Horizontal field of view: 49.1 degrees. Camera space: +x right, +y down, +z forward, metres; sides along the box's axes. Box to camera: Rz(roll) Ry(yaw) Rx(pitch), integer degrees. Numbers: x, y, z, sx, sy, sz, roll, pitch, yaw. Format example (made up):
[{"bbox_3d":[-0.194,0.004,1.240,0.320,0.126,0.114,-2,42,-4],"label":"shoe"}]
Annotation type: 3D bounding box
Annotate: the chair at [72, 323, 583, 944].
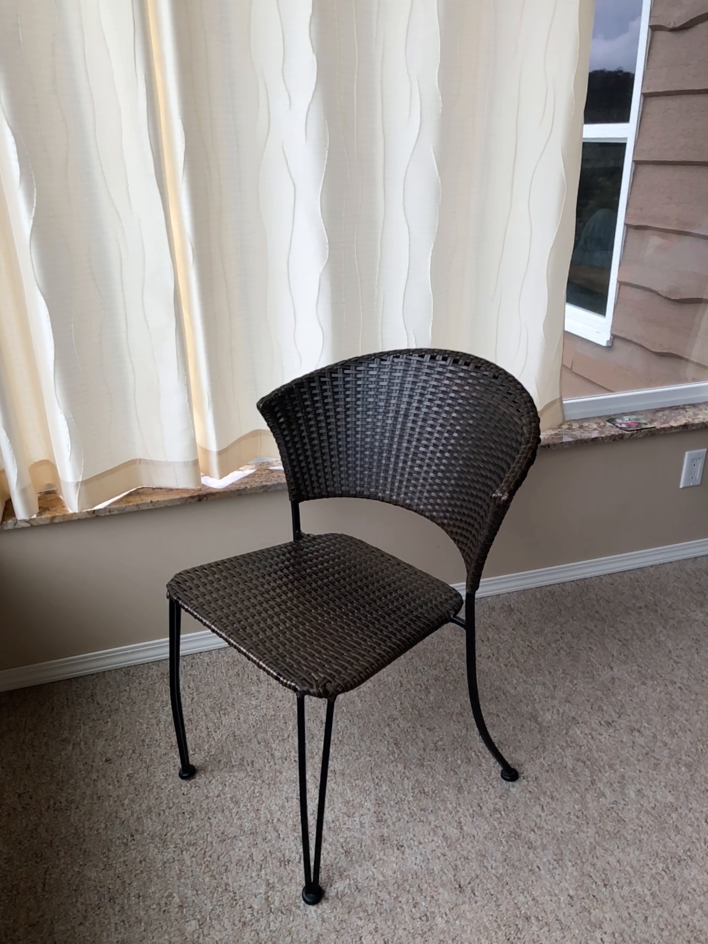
[{"bbox_3d":[-0.045,0.216,1.412,0.610,0.787,0.562,-20,31,-37],"label":"chair"}]
